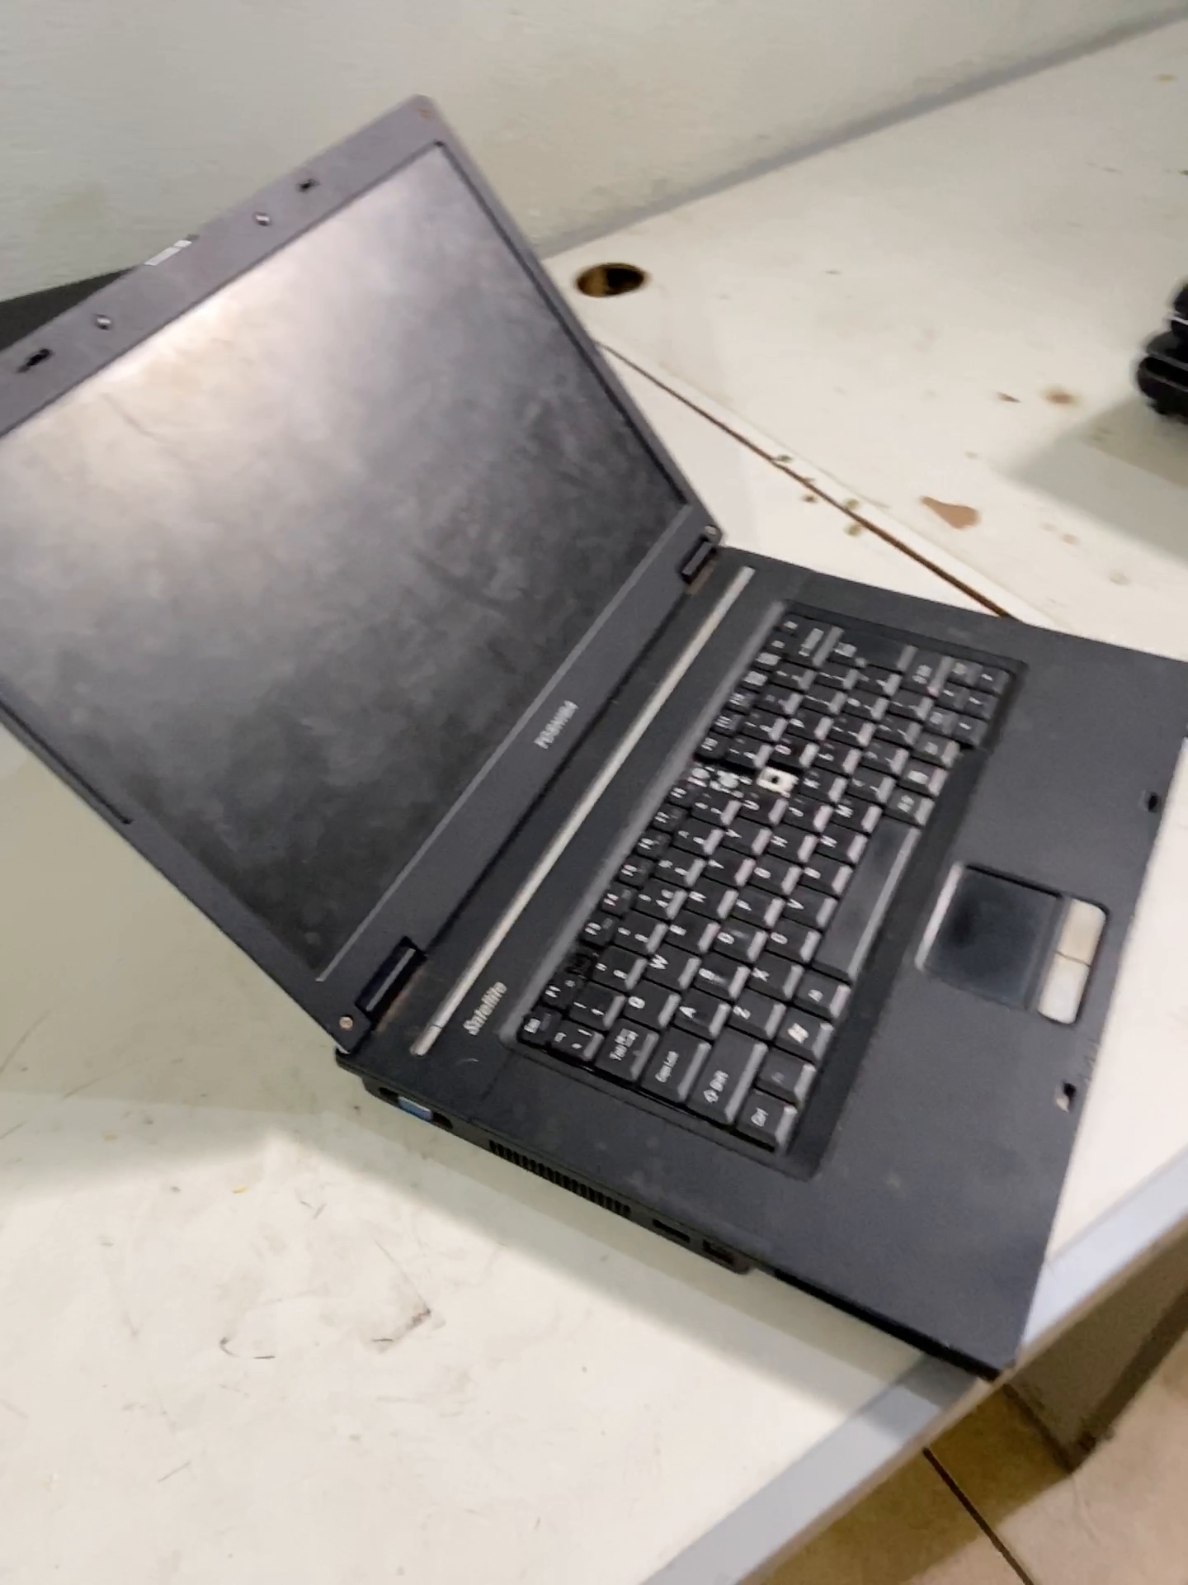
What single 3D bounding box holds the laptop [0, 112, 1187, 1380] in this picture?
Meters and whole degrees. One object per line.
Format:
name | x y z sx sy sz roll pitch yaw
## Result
laptop | 0.027 -0.070 0.479 0.402 0.212 0.357 19 52 22
